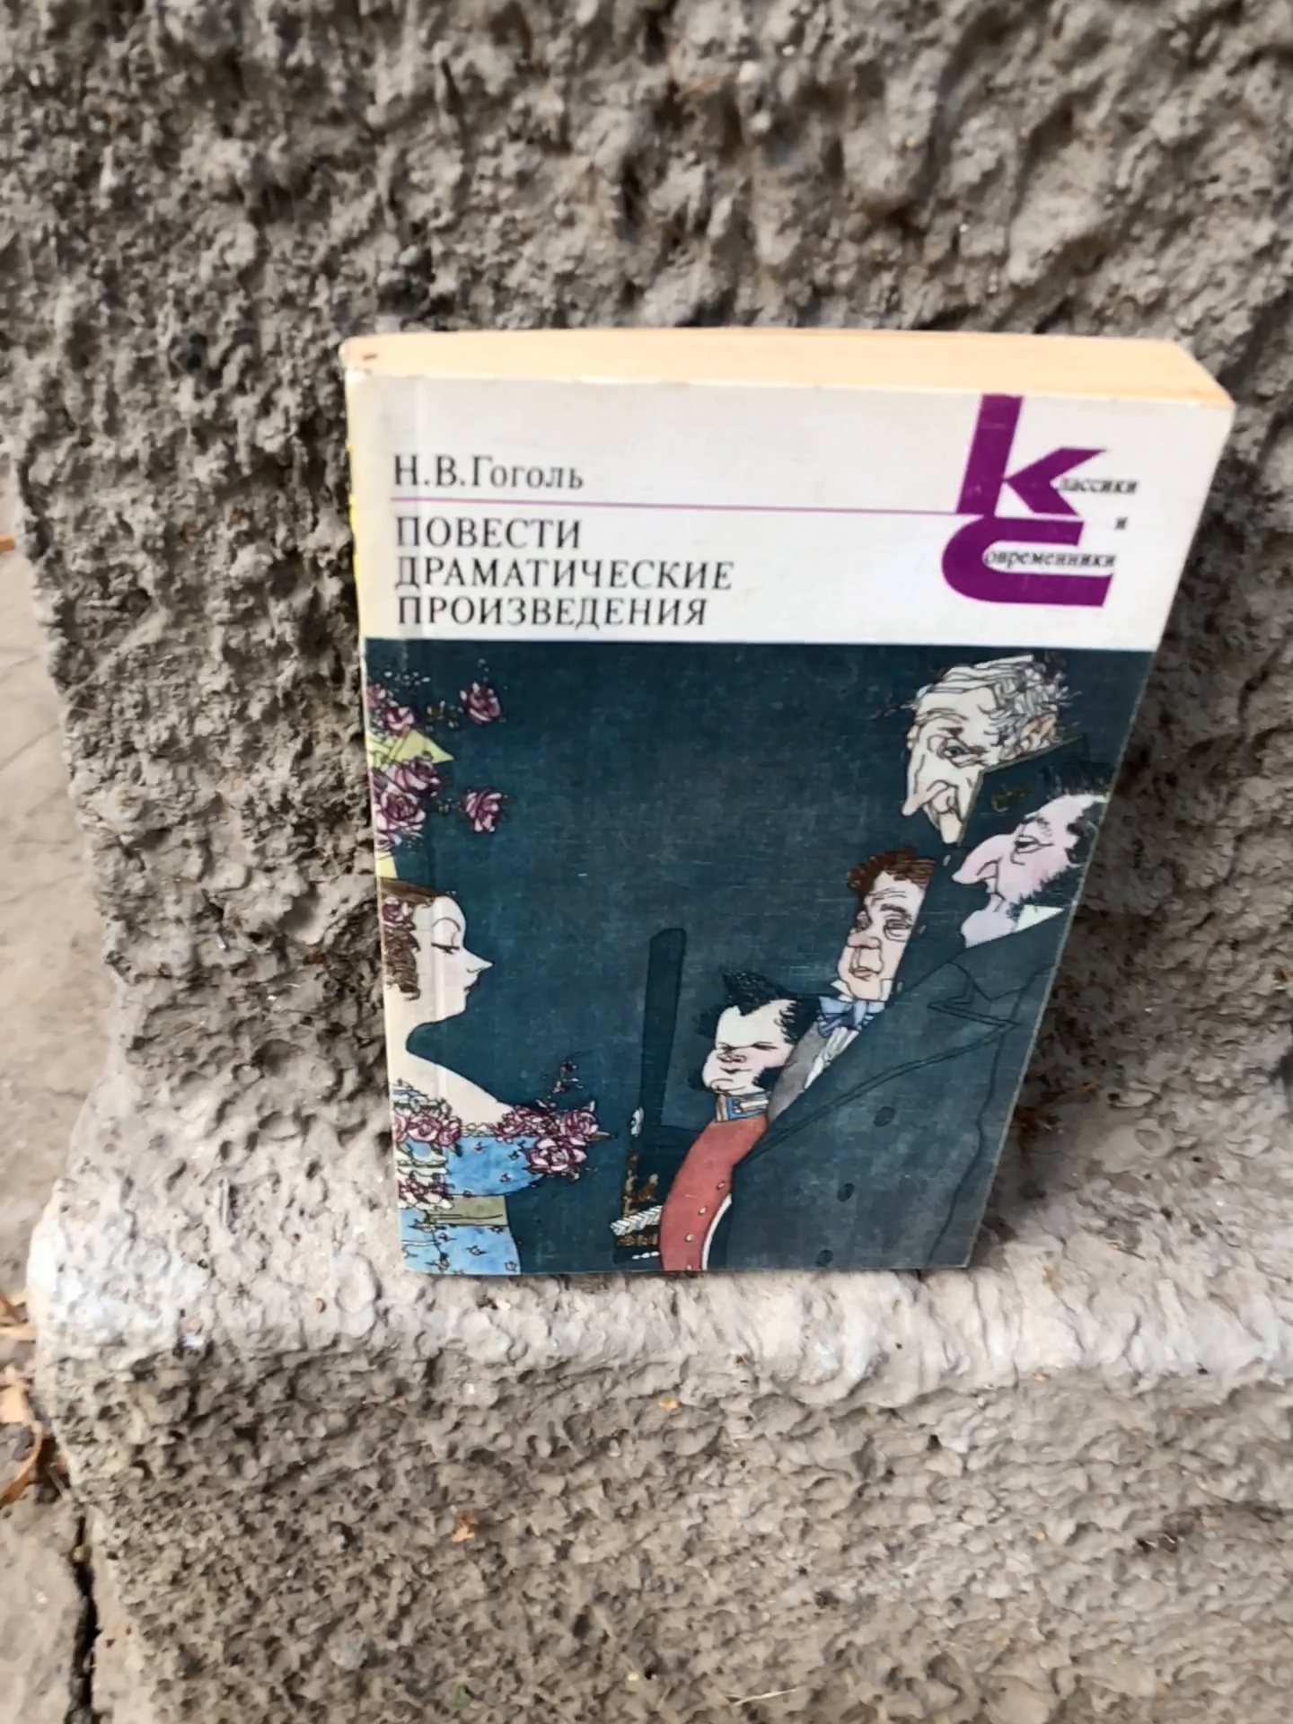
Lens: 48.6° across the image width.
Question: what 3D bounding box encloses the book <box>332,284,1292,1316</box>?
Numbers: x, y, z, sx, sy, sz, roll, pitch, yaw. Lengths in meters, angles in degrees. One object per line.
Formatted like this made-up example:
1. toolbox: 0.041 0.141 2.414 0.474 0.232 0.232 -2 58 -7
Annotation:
1. book: 0.019 0.004 0.255 0.137 0.190 0.030 -1 35 -9
